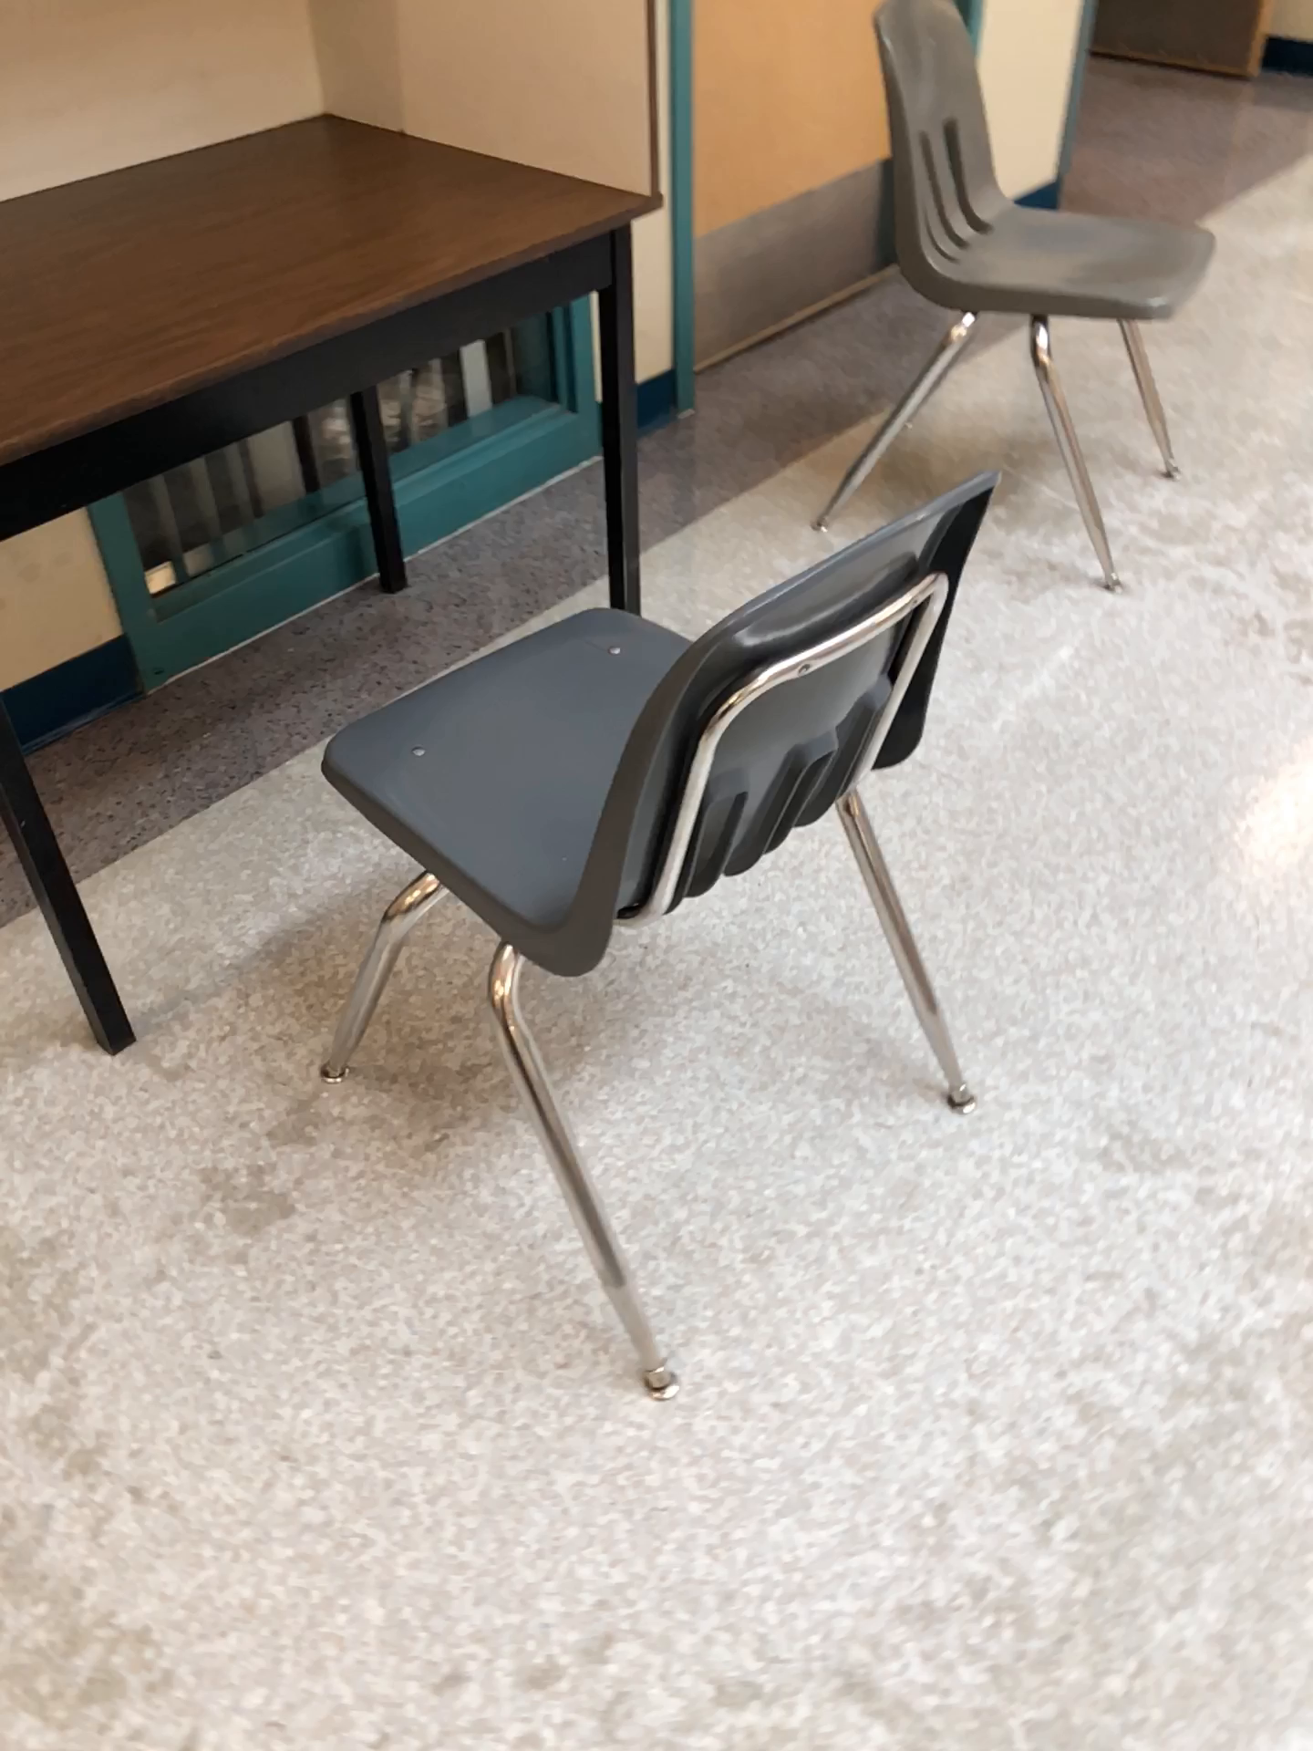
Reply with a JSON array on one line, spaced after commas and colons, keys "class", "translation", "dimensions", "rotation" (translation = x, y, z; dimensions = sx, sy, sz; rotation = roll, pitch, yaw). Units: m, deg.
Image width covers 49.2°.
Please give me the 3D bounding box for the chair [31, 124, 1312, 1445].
[{"class": "chair", "translation": [0.013, -0.116, 1.169], "dimensions": [0.592, 0.695, 0.612], "rotation": [-33, 51, -31]}]
